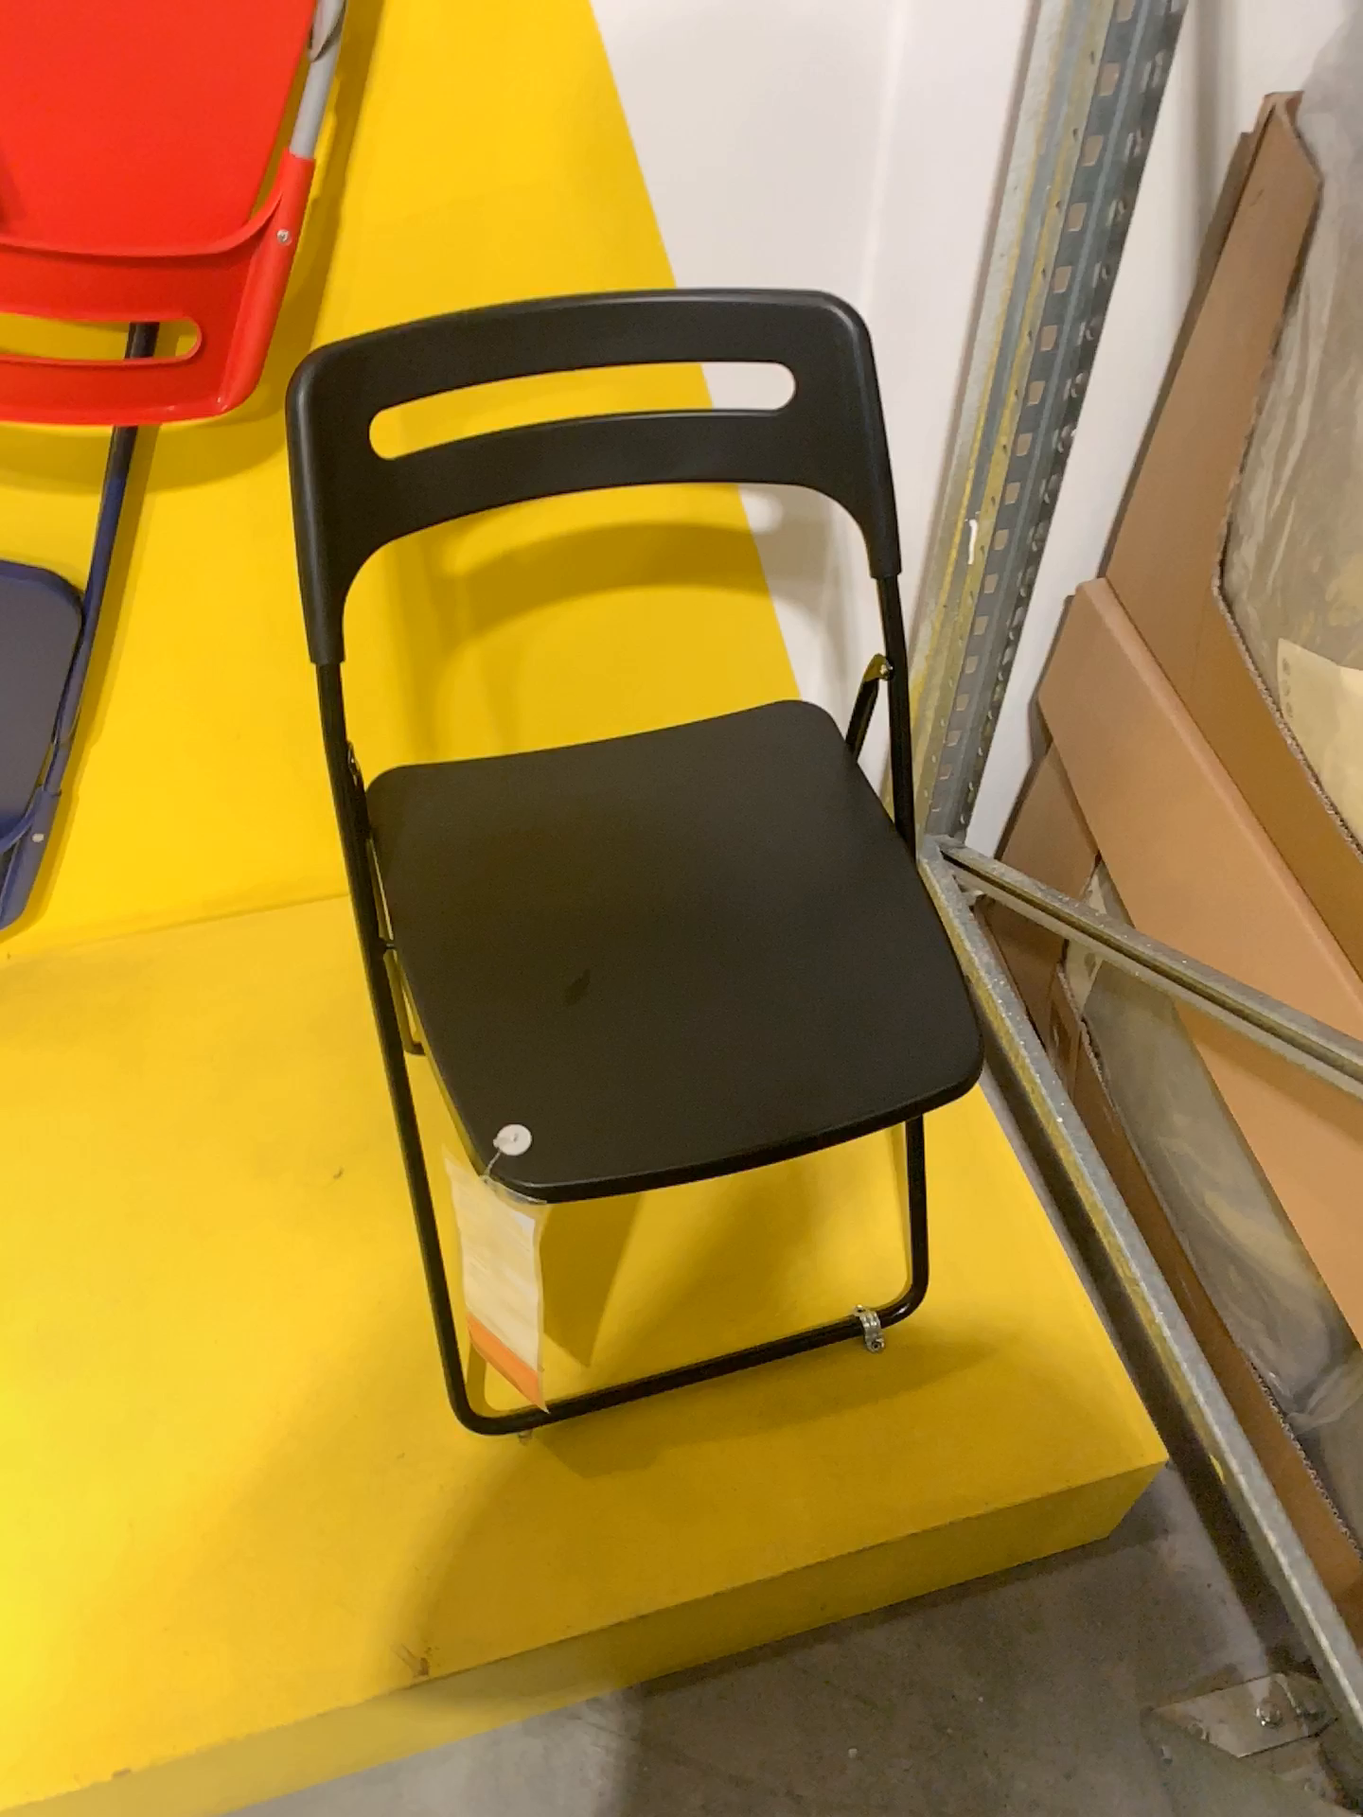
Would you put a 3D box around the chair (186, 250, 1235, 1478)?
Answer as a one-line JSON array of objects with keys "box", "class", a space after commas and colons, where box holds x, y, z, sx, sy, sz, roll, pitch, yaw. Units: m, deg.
[{"box": [-0.032, -0.001, 0.986, 0.440, 0.698, 0.441, -11, 49, -12], "class": "chair"}]
